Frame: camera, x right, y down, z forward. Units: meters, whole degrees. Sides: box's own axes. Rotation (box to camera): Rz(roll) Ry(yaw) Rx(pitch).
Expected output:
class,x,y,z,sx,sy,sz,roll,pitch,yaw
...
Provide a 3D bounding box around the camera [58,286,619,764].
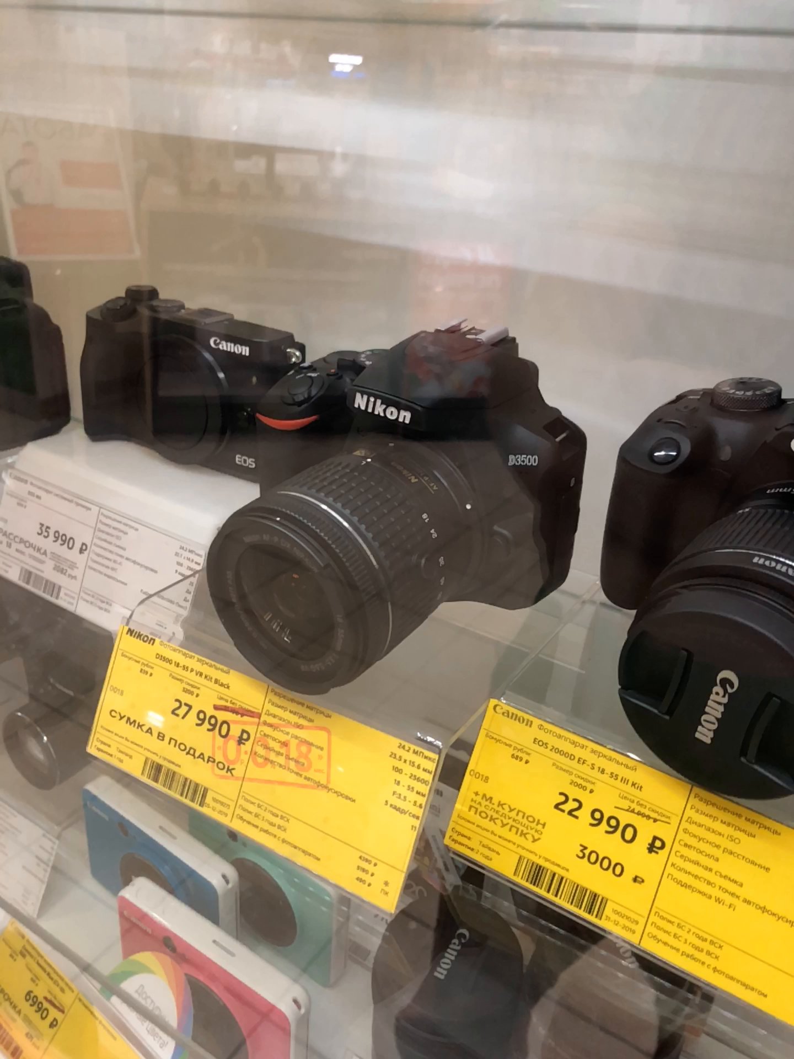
class,x,y,z,sx,sy,sz,roll,pitch,yaw
camera,-0.016,-0.017,0.296,0.130,0.092,0.120,19,30,28
